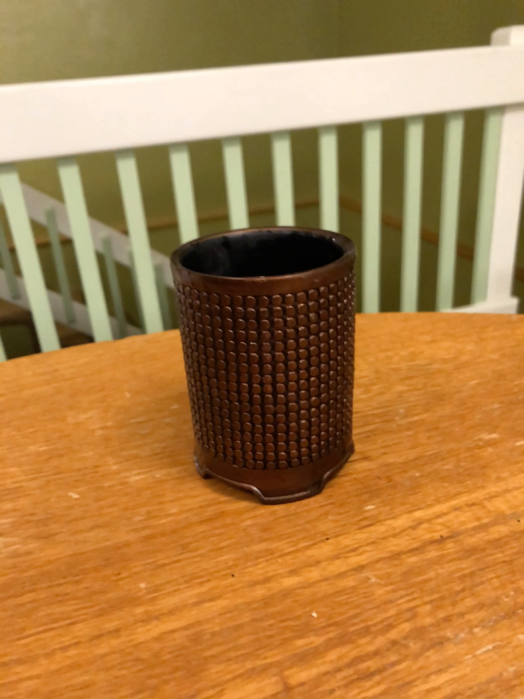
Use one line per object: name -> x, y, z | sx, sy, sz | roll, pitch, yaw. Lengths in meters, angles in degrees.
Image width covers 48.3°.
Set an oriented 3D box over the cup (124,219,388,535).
cup -> -0.001, 0.004, 0.252 | 0.073, 0.097, 0.078 | -3, 25, 2
